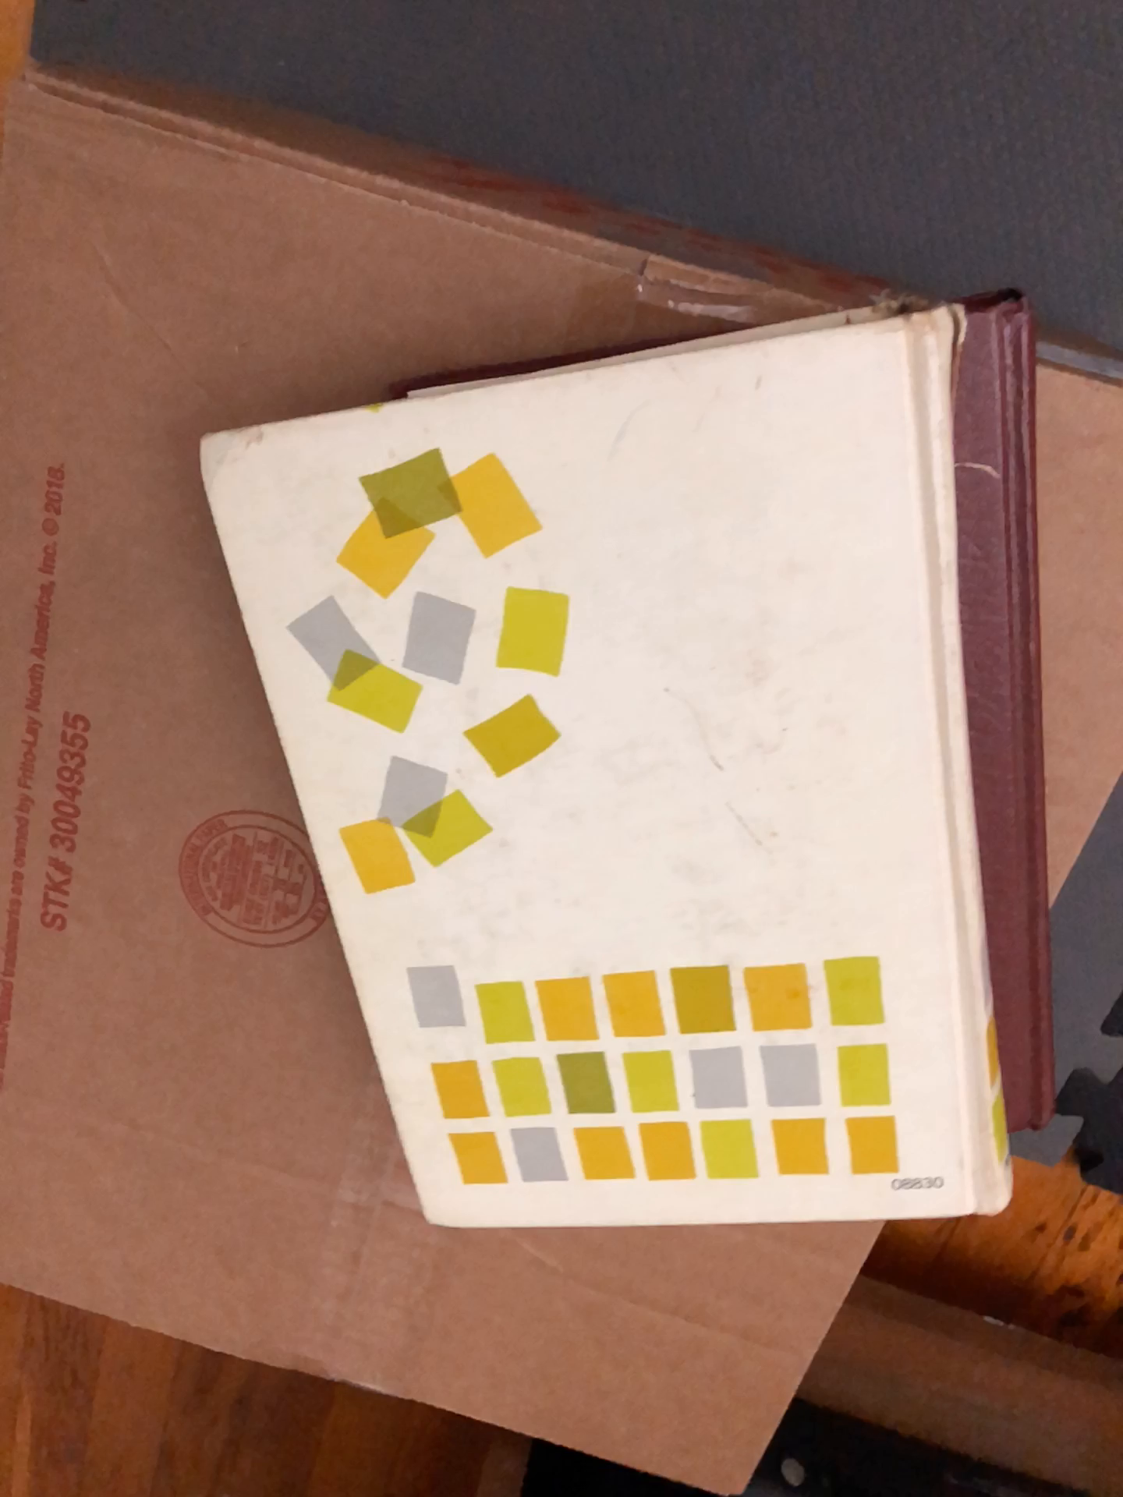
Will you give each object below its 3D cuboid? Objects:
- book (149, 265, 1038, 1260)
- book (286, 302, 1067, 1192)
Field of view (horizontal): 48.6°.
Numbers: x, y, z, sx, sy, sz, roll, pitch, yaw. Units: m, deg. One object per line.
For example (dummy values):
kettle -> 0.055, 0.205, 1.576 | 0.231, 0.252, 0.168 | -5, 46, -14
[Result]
book -> 0.023, 0.024, 0.326 | 0.180, 0.040, 0.250 | -7, 114, 11
book -> 0.041, 0.017, 0.356 | 0.180, 0.040, 0.250 | -4, 115, 10
